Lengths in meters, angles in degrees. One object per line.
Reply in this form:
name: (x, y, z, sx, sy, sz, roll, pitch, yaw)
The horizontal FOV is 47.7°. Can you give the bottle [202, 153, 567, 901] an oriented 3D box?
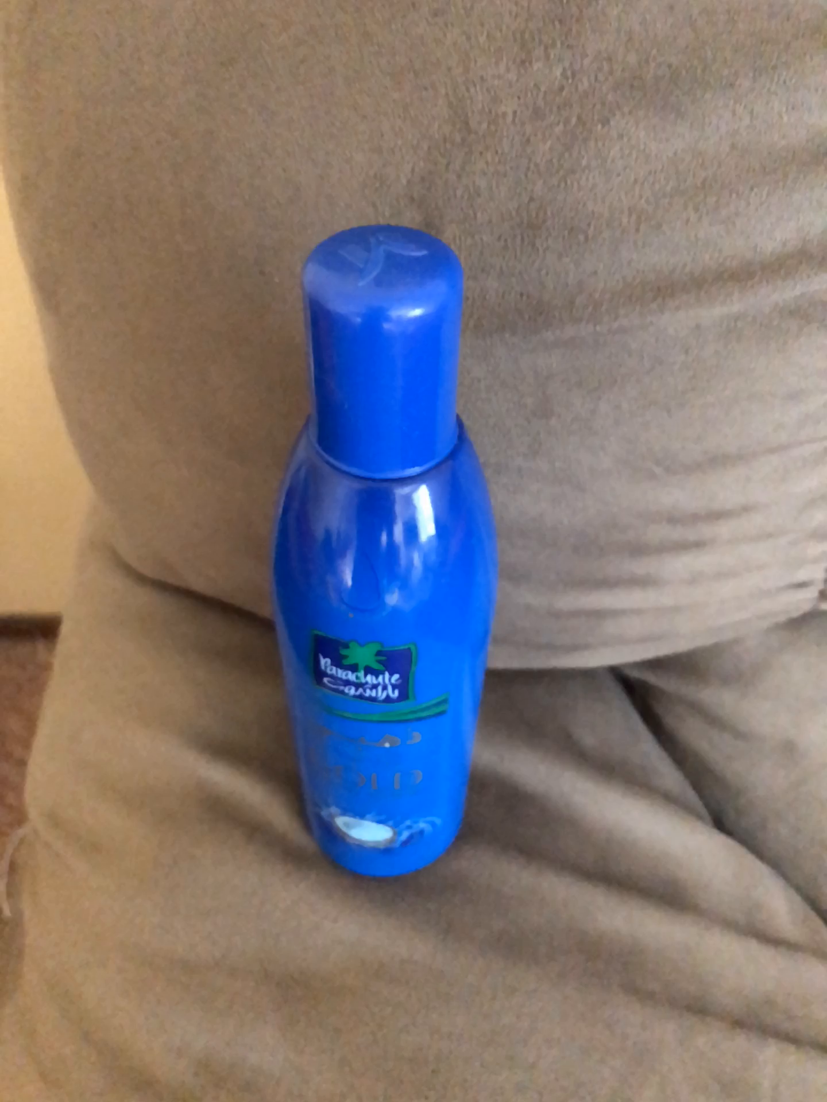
bottle: (-0.004, 0.013, 0.211, 0.050, 0.180, 0.050, 1, 46, -1)
